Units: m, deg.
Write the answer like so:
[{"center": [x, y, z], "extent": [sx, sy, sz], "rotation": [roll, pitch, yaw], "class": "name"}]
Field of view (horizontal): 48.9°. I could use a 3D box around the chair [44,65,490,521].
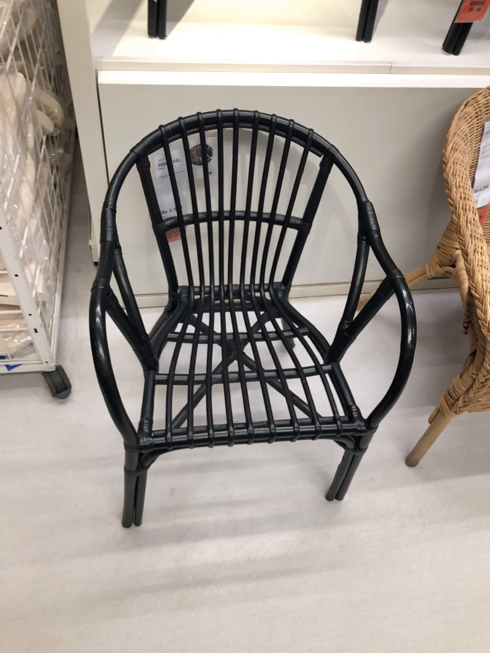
[{"center": [-0.003, -0.003, 1.042], "extent": [0.550, 0.756, 0.473], "rotation": [-2, 54, -9], "class": "chair"}]
